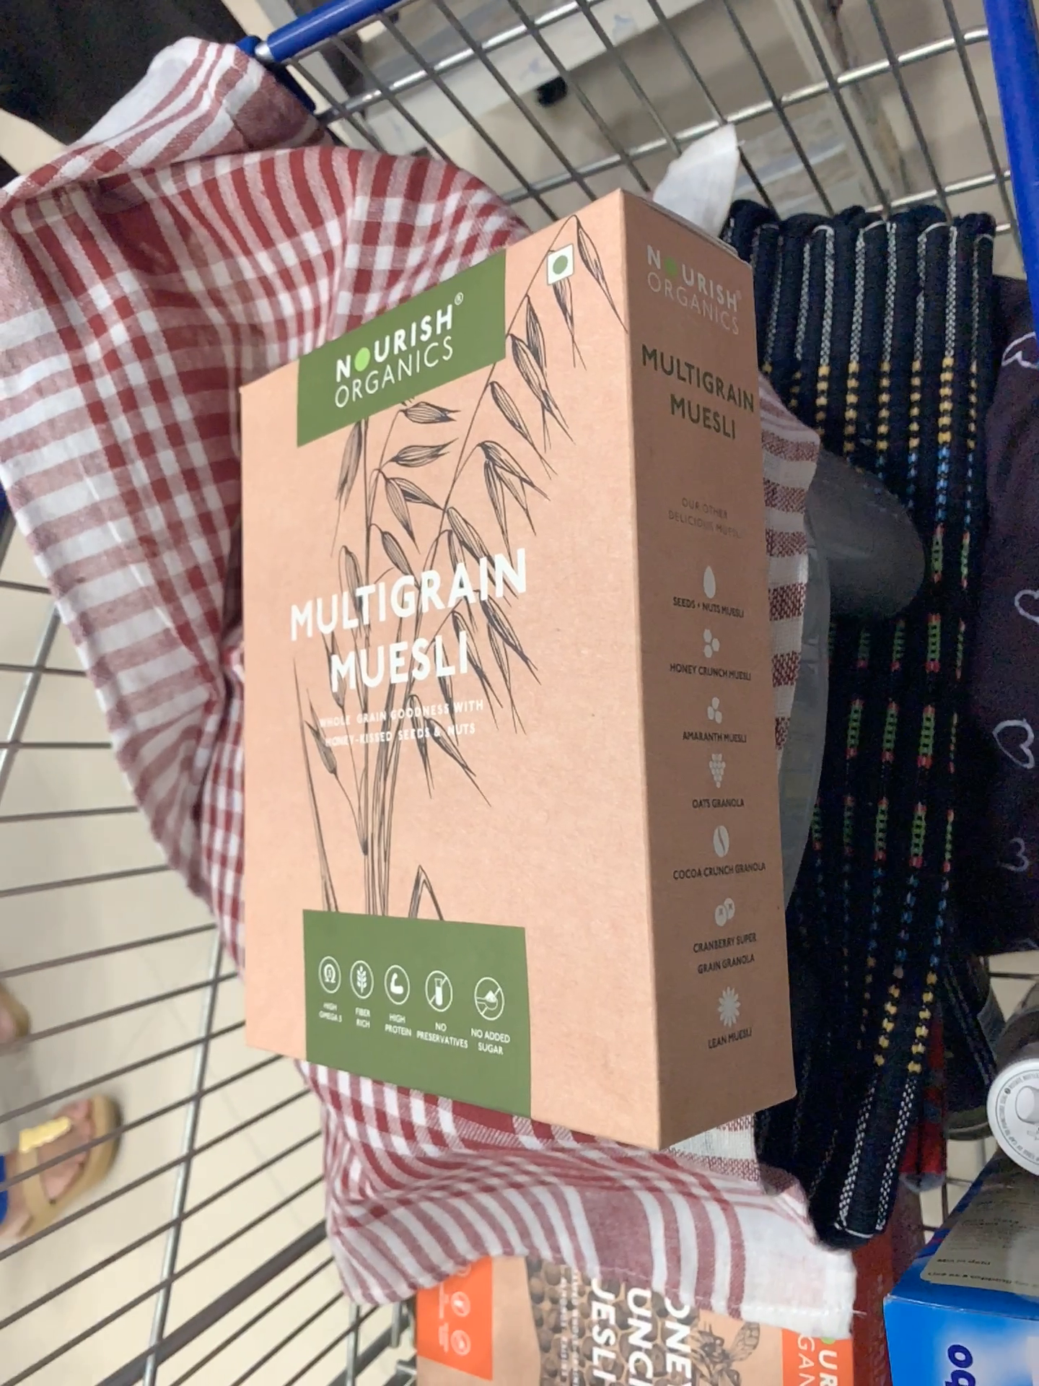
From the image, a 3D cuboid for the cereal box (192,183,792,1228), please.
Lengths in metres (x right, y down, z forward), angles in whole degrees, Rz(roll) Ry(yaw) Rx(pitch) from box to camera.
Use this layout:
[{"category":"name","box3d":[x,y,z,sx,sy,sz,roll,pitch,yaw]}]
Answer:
[{"category":"cereal box","box3d":[-0.020,0.006,0.278,0.161,0.050,0.200,-7,82,43]}]
